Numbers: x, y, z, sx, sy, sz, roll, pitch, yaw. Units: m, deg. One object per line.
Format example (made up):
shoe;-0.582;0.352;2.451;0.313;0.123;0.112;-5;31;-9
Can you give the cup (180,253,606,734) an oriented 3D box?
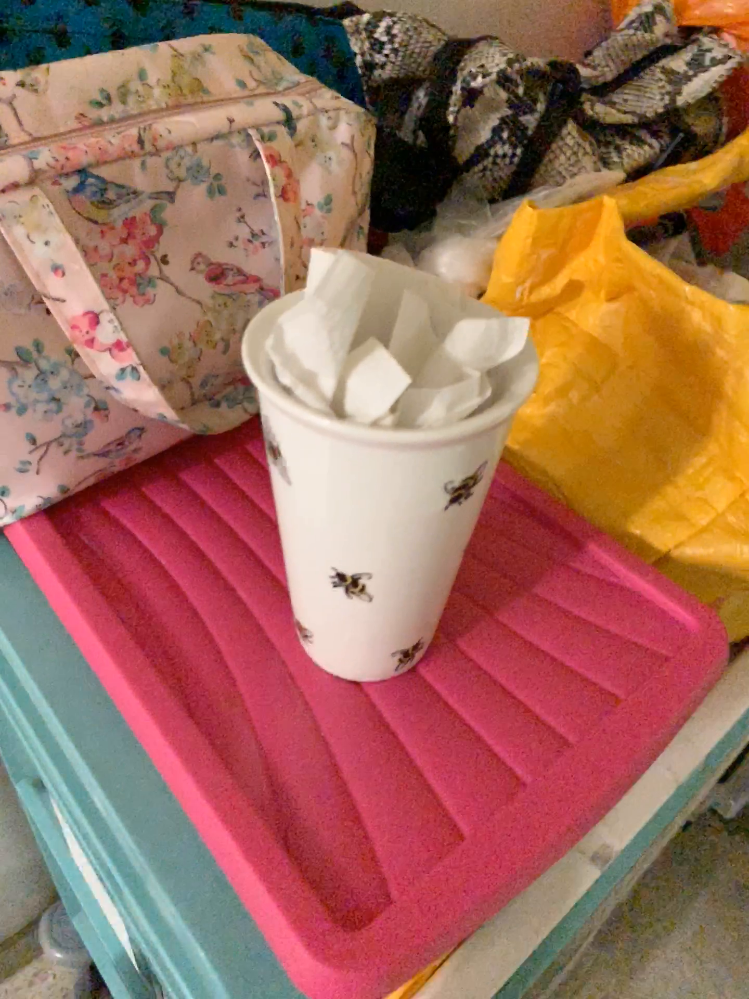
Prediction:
cup;0.002;-0.007;0.275;0.090;0.112;0.098;3;40;-3
